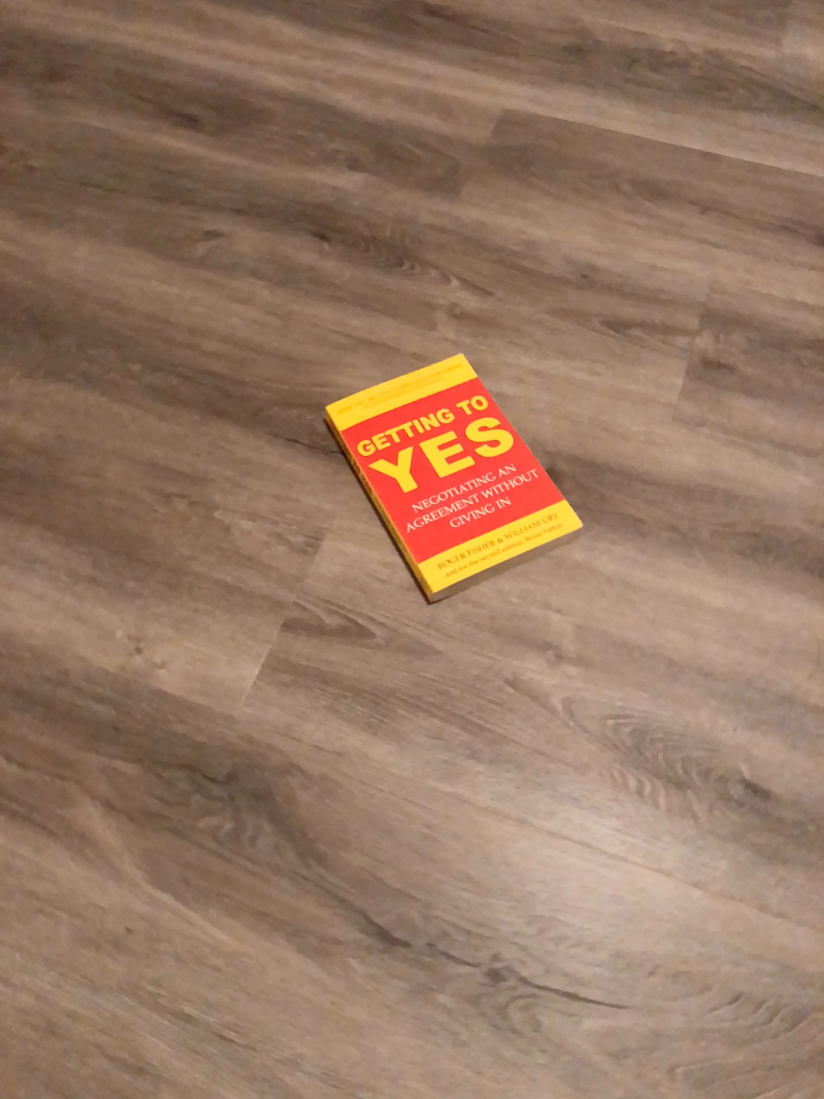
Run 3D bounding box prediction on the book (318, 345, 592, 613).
[{"bbox_3d":[0.028,-0.061,0.694,0.130,0.026,0.190,-24,62,-13],"label":"book"}]
